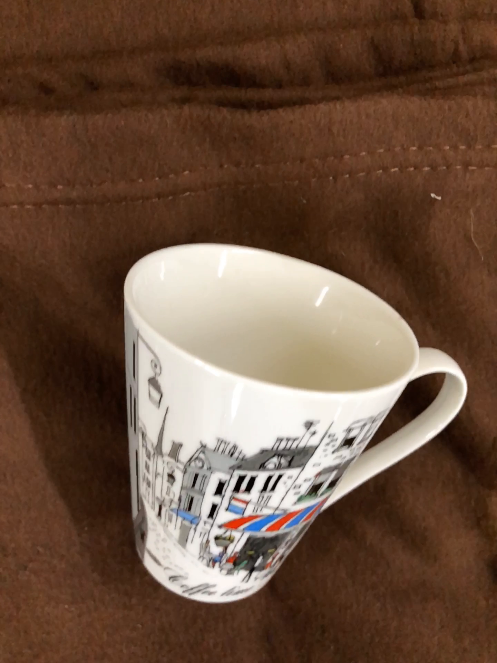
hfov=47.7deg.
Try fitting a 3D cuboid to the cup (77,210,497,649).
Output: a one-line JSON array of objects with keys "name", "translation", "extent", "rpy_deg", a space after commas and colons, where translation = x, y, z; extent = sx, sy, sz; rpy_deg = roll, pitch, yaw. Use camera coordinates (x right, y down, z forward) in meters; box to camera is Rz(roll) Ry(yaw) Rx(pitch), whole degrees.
[{"name": "cup", "translation": [0.009, 0.034, 0.191], "extent": [0.110, 0.080, 0.110], "rpy_deg": [-3, 120, -6]}]
